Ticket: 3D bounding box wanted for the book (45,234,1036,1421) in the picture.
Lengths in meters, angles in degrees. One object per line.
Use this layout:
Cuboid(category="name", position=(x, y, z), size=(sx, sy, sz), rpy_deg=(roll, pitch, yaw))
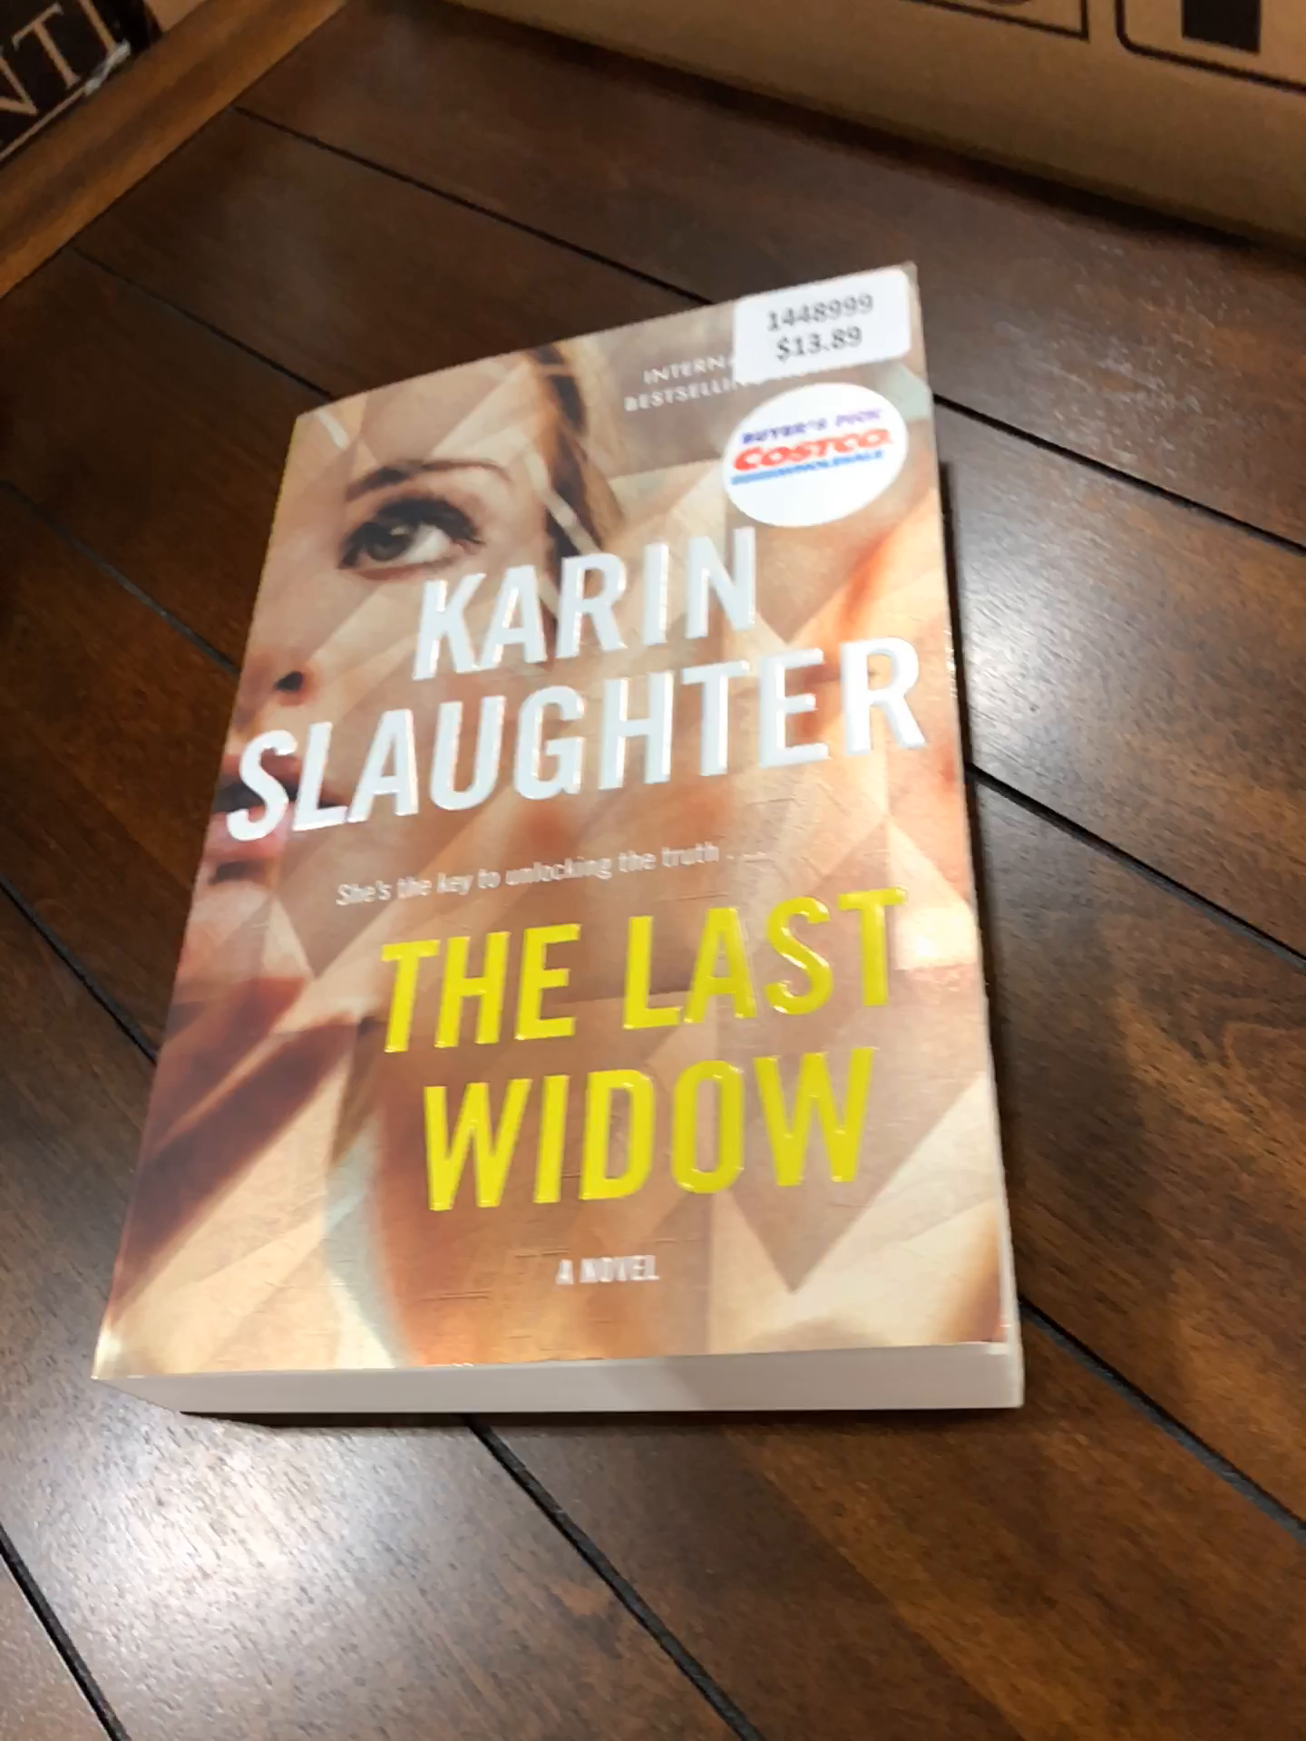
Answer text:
Cuboid(category="book", position=(-0.016, -0.017, 0.292), size=(0.154, 0.042, 0.230), rpy_deg=(-8, 58, 17))
